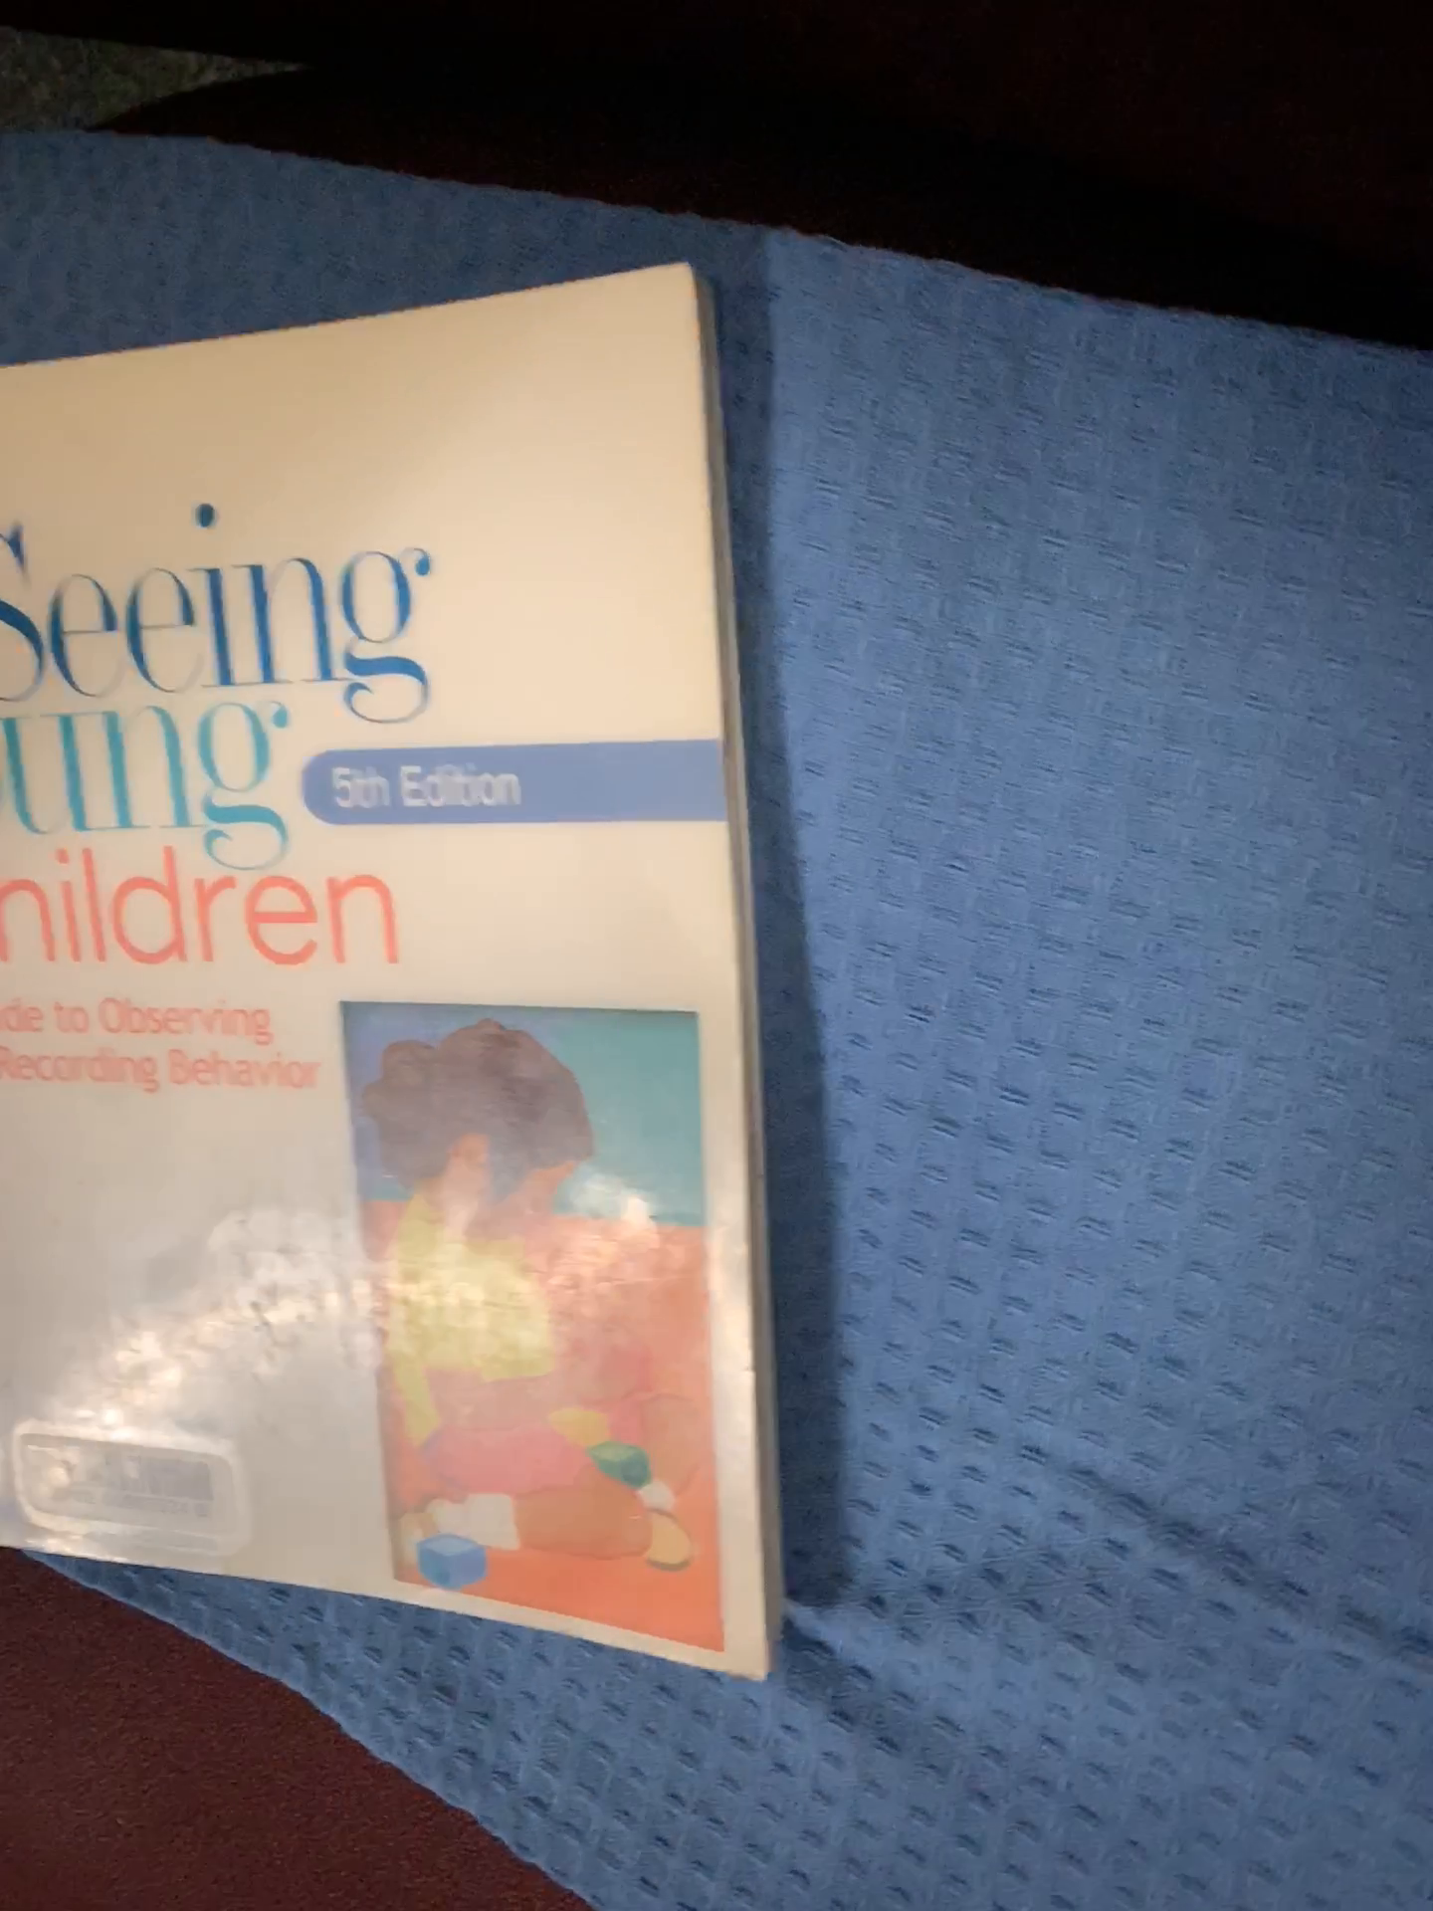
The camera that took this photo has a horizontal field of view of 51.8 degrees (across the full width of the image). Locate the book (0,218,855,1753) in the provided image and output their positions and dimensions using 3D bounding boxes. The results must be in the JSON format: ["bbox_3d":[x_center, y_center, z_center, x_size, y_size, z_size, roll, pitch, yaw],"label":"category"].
[{"bbox_3d":[-0.082,0.016,0.276,0.200,0.030,0.250,0,104,18],"label":"book"}]
